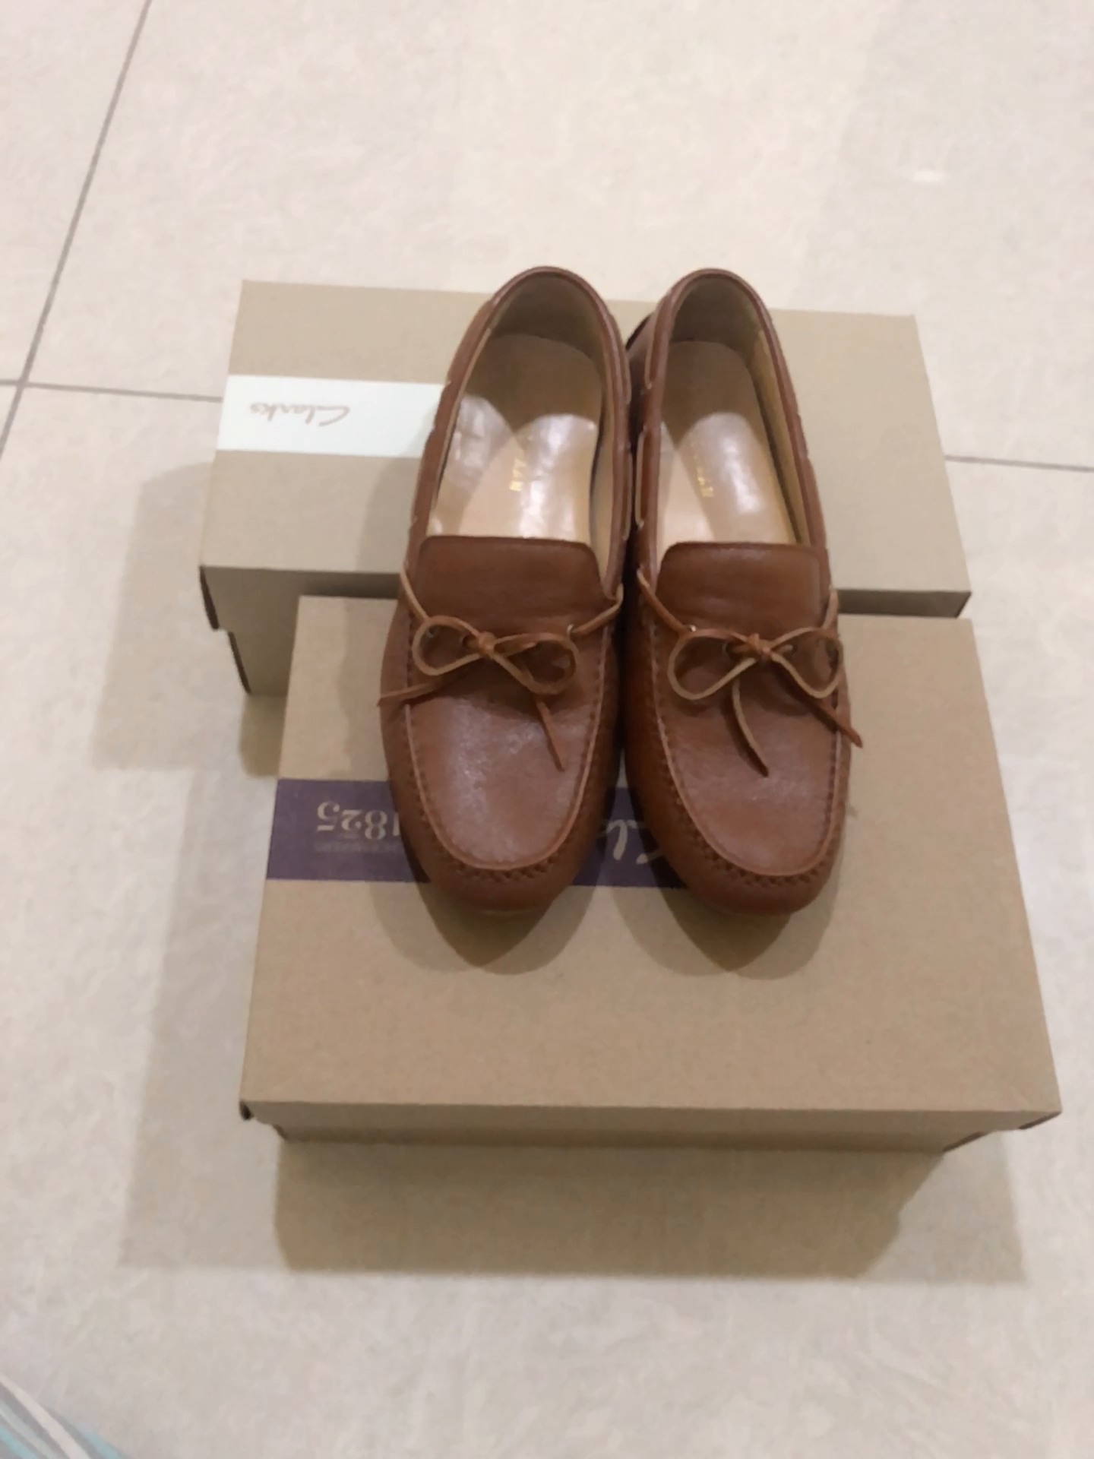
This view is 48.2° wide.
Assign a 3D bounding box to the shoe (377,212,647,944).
[{"bbox_3d":[-0.010,-0.064,0.489,0.080,0.080,0.280,5,68,-3],"label":"shoe"}]

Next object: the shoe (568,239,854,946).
[{"bbox_3d":[0.057,-0.059,0.499,0.080,0.080,0.280,0,69,-5],"label":"shoe"}]
